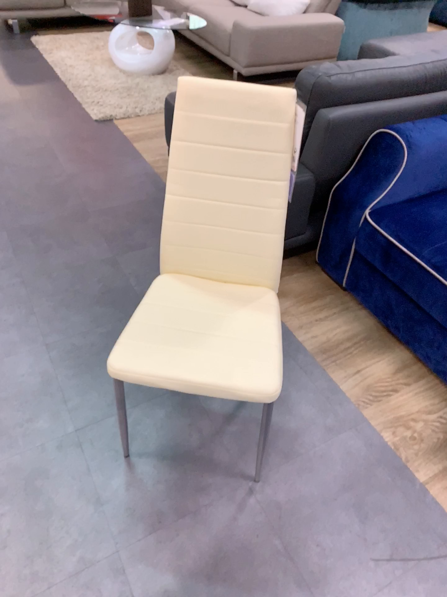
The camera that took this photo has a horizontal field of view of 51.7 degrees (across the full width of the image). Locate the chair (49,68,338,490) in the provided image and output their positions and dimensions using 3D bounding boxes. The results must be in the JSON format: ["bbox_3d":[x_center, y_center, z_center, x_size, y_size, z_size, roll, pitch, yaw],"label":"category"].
[{"bbox_3d":[-0.035,0.009,1.189,0.445,0.940,0.480,9,43,5],"label":"chair"}]
